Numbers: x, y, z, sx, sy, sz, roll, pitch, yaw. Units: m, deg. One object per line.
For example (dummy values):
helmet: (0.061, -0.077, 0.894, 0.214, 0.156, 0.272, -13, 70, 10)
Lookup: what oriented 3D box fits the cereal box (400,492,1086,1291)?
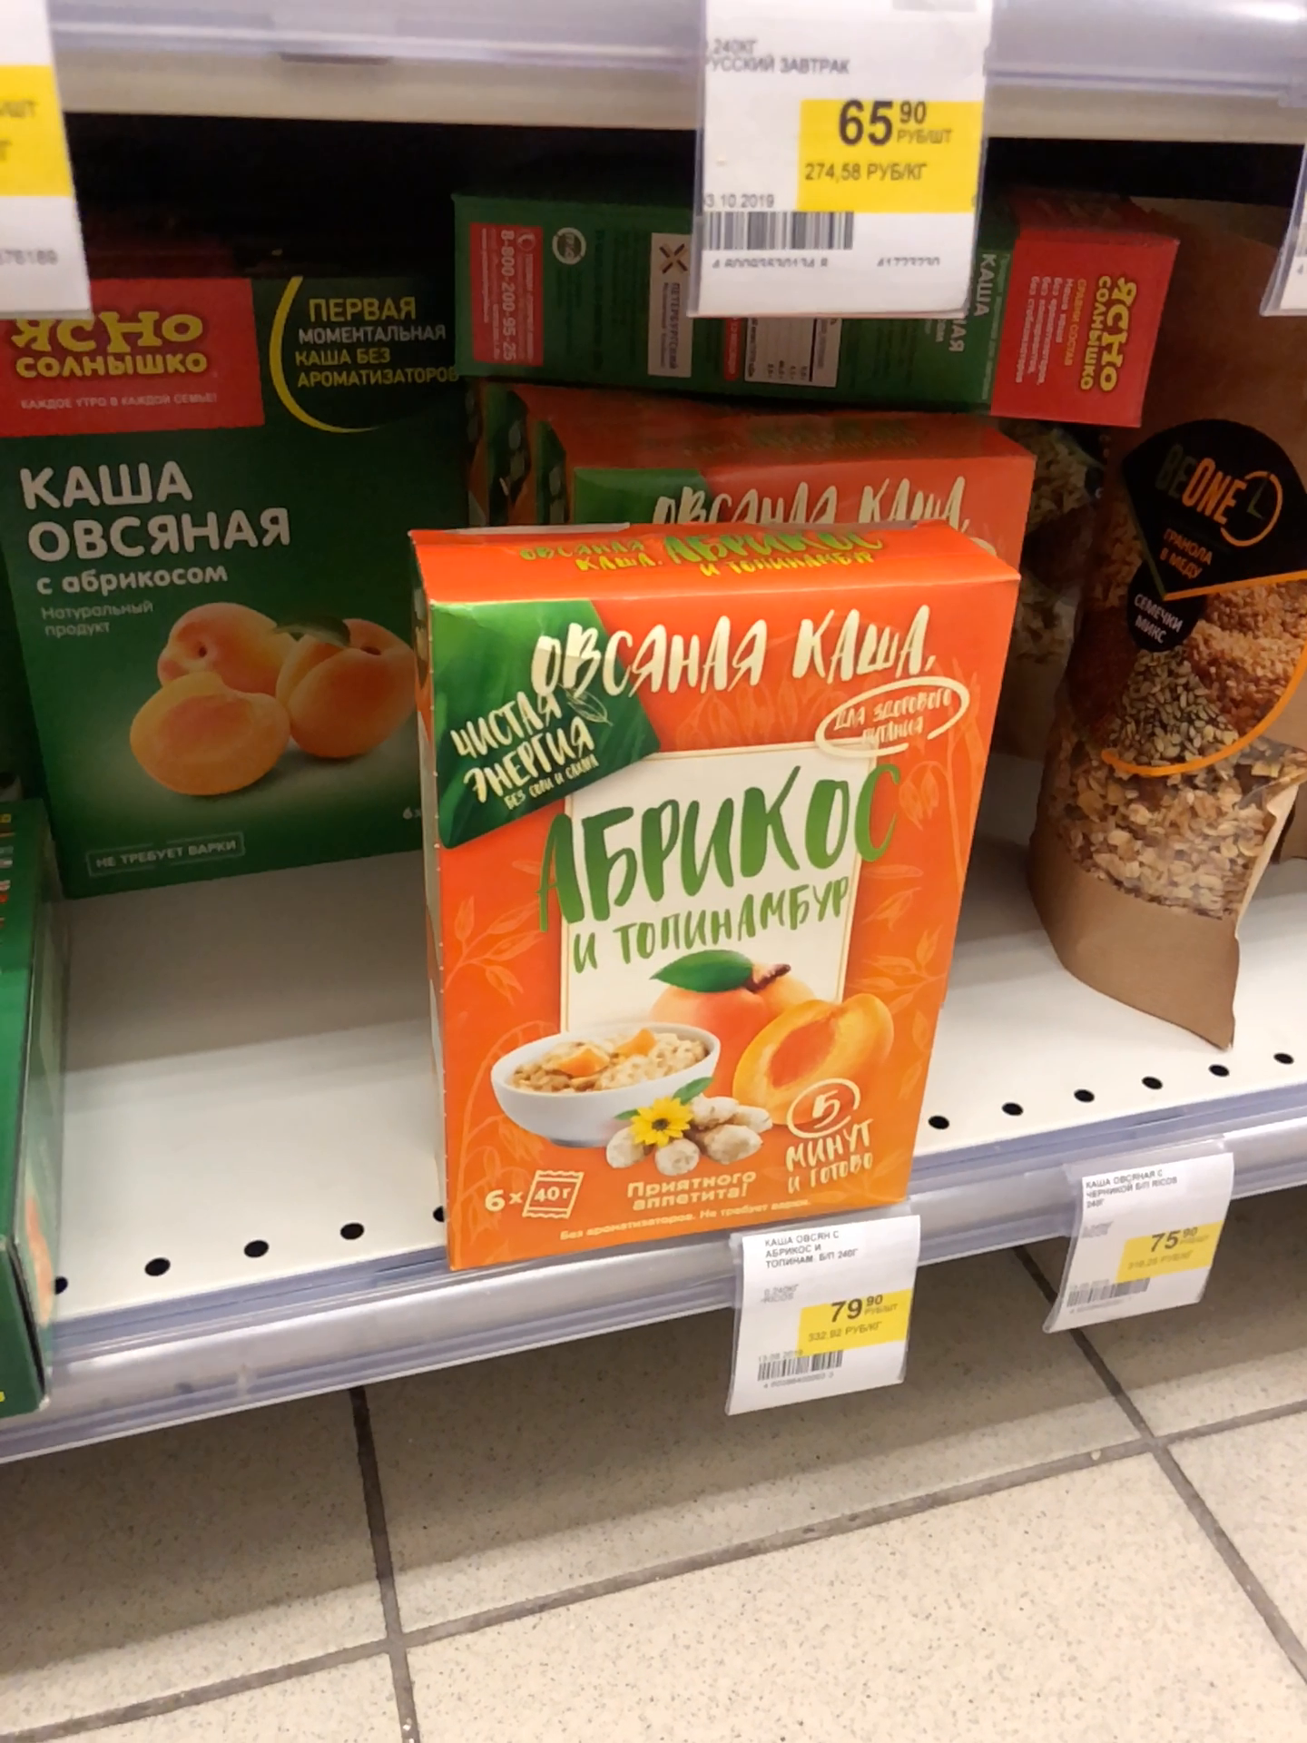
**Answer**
cereal box: (0.014, 0.009, 0.360, 0.140, 0.189, 0.050, -5, 32, -13)
